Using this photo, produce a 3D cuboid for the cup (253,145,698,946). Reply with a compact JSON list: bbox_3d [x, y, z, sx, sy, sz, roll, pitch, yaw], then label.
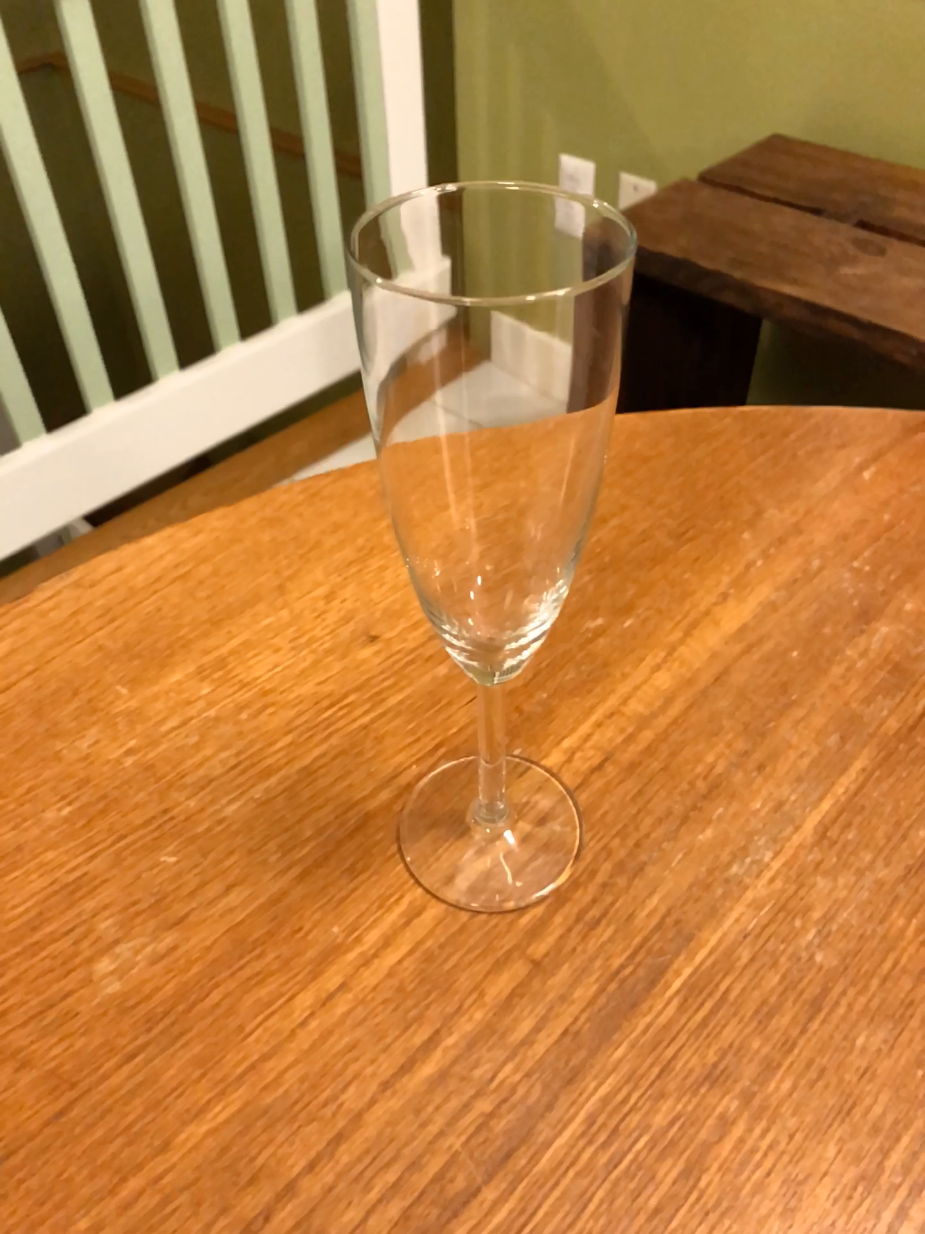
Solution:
[{"bbox_3d":[0.008,-0.006,0.293,0.066,0.215,0.074,23,48,24],"label":"cup"}]
